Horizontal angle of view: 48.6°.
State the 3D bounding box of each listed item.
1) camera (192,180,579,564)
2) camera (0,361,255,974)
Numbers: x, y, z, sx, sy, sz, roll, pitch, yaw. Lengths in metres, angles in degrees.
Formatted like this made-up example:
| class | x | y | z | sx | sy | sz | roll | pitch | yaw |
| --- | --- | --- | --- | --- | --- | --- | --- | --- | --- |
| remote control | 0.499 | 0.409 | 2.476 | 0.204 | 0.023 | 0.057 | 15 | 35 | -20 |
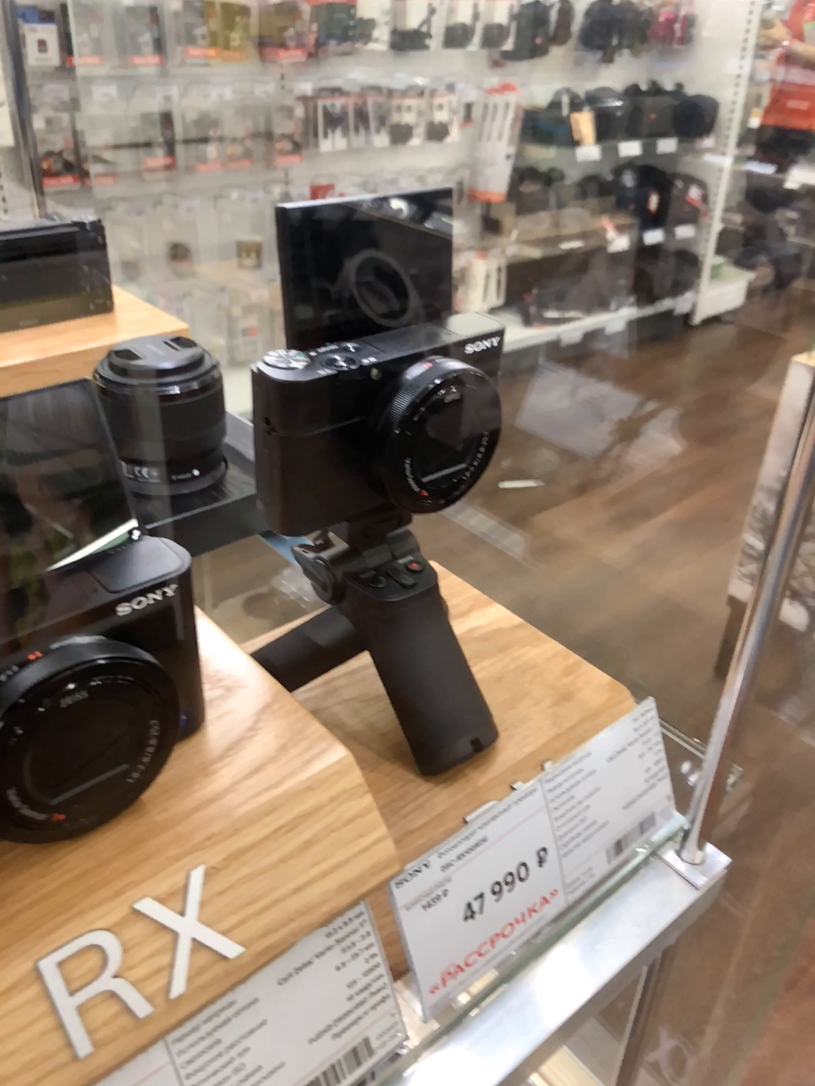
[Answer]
| class | x | y | z | sx | sy | sz | roll | pitch | yaw |
| --- | --- | --- | --- | --- | --- | --- | --- | --- | --- |
| camera | -0.007 | -0.065 | 0.313 | 0.109 | 0.097 | 0.062 | -21 | 39 | -34 |
| camera | -0.106 | 0.022 | 0.226 | 0.109 | 0.097 | 0.070 | -21 | 39 | -34 |
